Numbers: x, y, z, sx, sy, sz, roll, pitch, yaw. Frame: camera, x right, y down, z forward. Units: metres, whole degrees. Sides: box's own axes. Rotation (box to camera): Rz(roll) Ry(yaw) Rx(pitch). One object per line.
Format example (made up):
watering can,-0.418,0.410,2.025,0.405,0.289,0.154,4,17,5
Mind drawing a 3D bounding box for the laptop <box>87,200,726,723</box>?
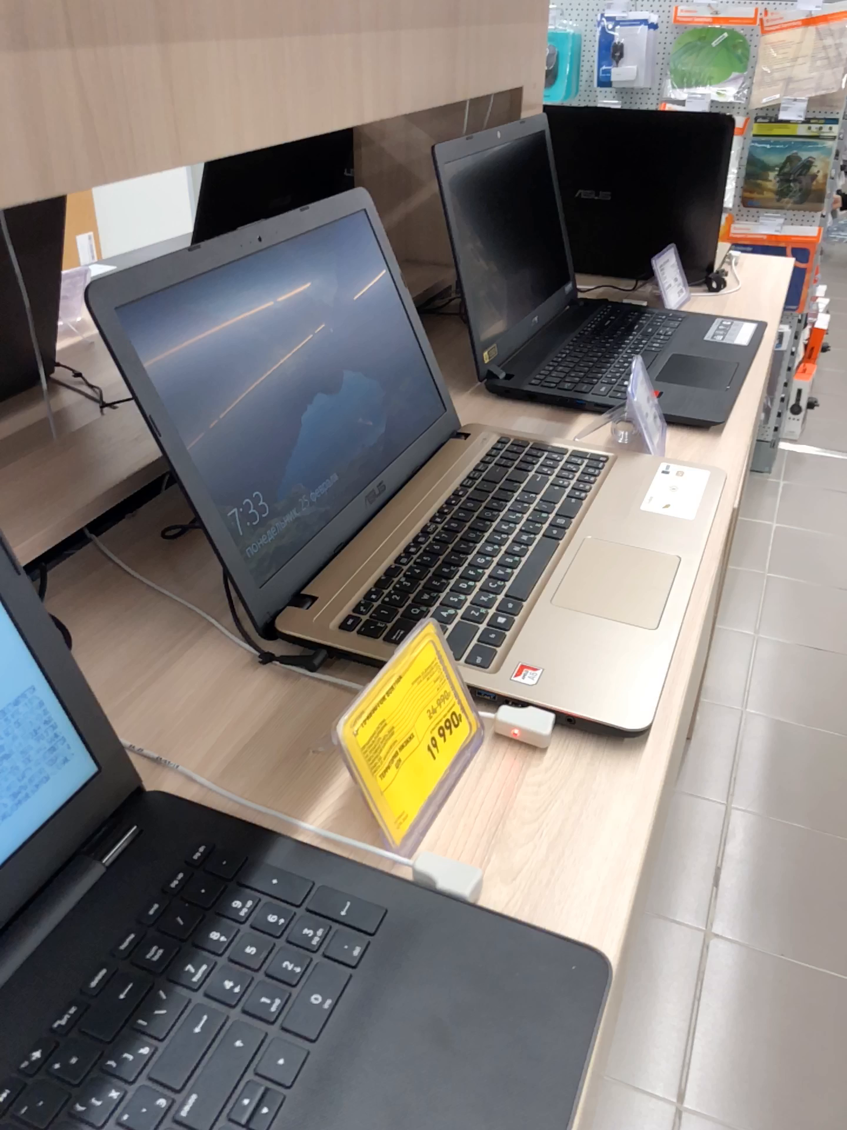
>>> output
laptop,0.020,-0.122,0.707,0.350,0.208,0.368,13,32,17
